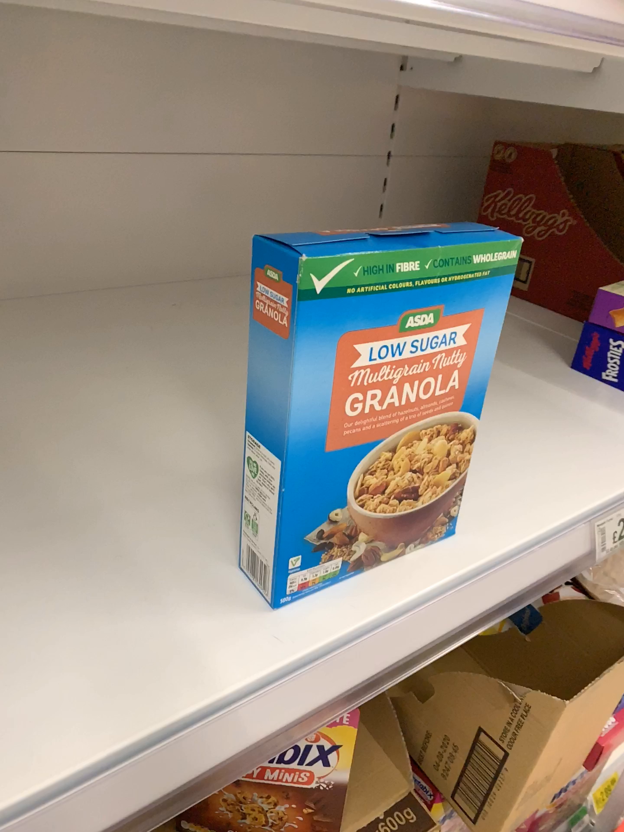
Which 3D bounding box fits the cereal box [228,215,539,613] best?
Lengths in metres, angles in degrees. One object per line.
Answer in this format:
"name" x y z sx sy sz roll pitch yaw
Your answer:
"cereal box" 0.044 -0.006 0.456 0.191 0.248 0.060 -13 34 -33
